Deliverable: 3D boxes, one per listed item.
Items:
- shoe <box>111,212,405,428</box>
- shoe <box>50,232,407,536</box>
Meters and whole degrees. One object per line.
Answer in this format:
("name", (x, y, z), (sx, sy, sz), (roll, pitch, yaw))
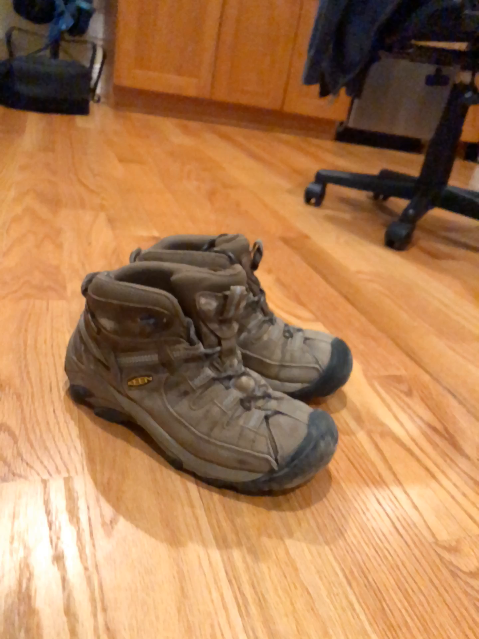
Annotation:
("shoe", (0.015, -0.006, 0.553), (0.259, 0.139, 0.108), (13, 24, 4))
("shoe", (-0.016, 0.038, 0.446), (0.259, 0.139, 0.108), (19, 26, 17))
